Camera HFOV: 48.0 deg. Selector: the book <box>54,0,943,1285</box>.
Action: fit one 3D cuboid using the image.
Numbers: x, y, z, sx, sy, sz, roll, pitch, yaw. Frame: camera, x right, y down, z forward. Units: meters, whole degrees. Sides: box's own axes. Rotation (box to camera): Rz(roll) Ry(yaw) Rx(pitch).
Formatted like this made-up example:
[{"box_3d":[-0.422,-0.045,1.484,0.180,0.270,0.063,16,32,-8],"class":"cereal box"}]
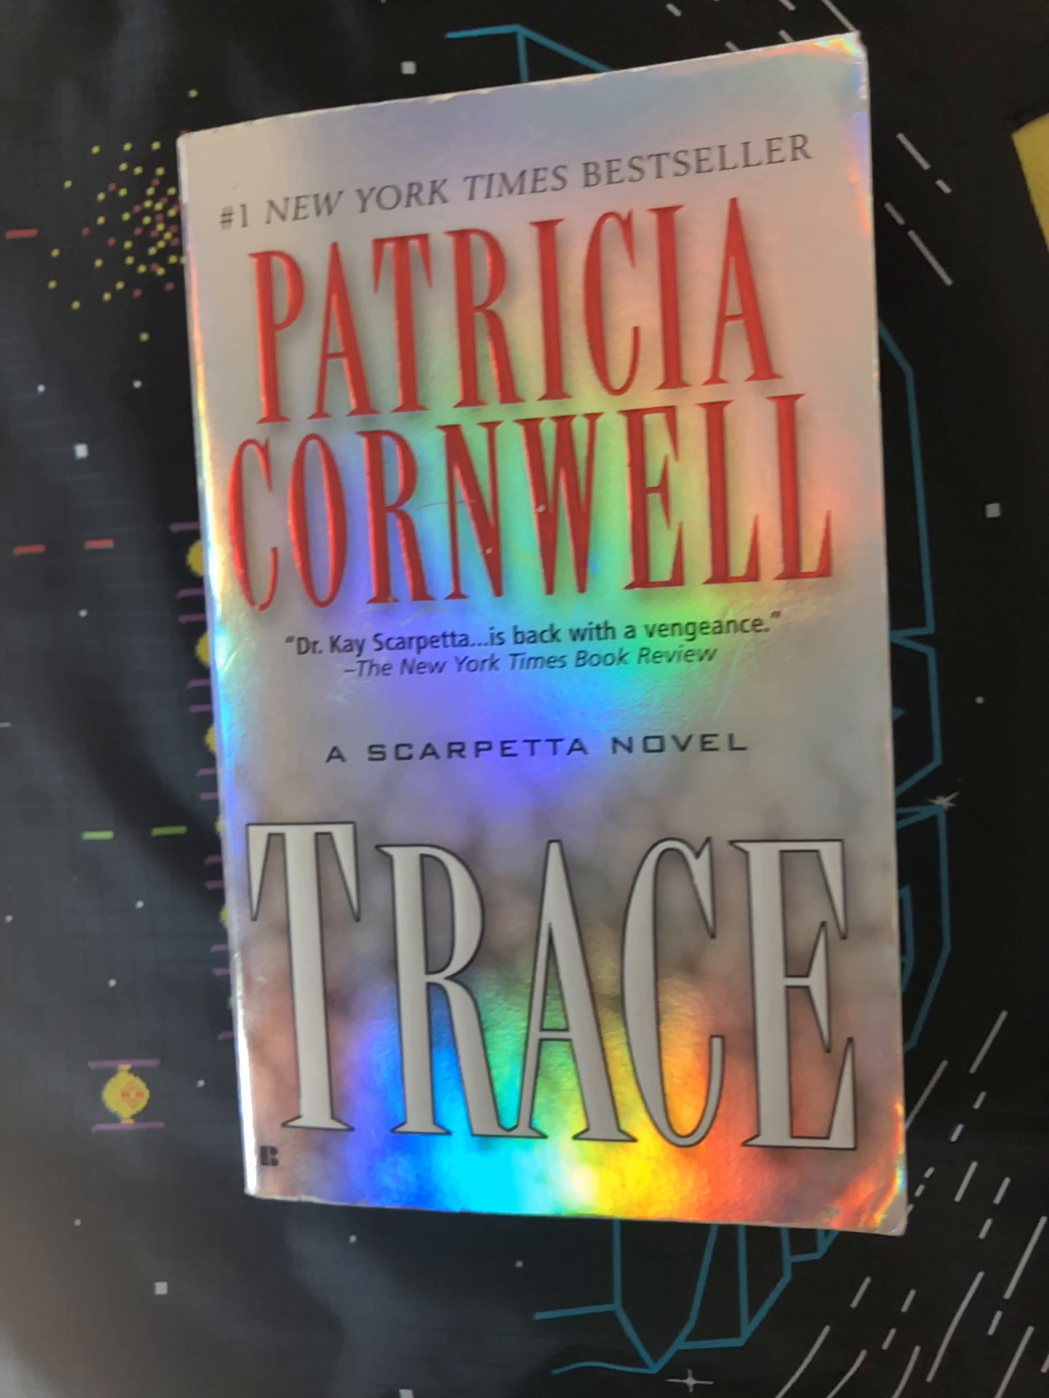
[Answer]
[{"box_3d":[-0.003,-0.008,0.184,0.120,0.040,0.170,-2,92,14],"class":"book"}]
